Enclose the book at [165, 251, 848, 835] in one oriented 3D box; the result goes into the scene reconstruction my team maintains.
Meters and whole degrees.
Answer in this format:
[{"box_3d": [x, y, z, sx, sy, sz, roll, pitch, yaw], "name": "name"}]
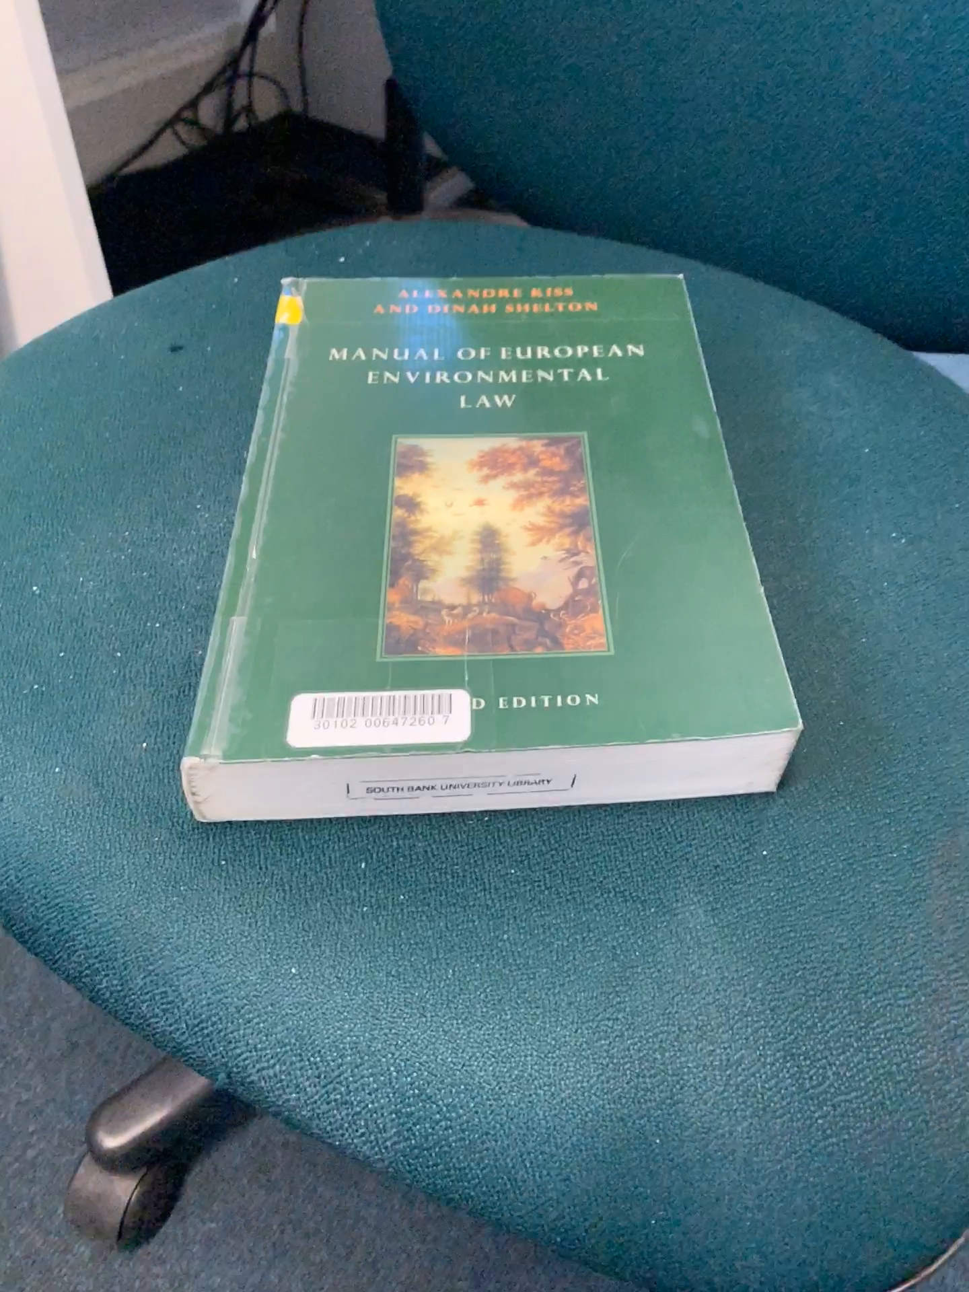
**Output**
[{"box_3d": [0.002, -0.057, 0.358, 0.180, 0.040, 0.252, -1, 51, -2], "name": "book"}]
